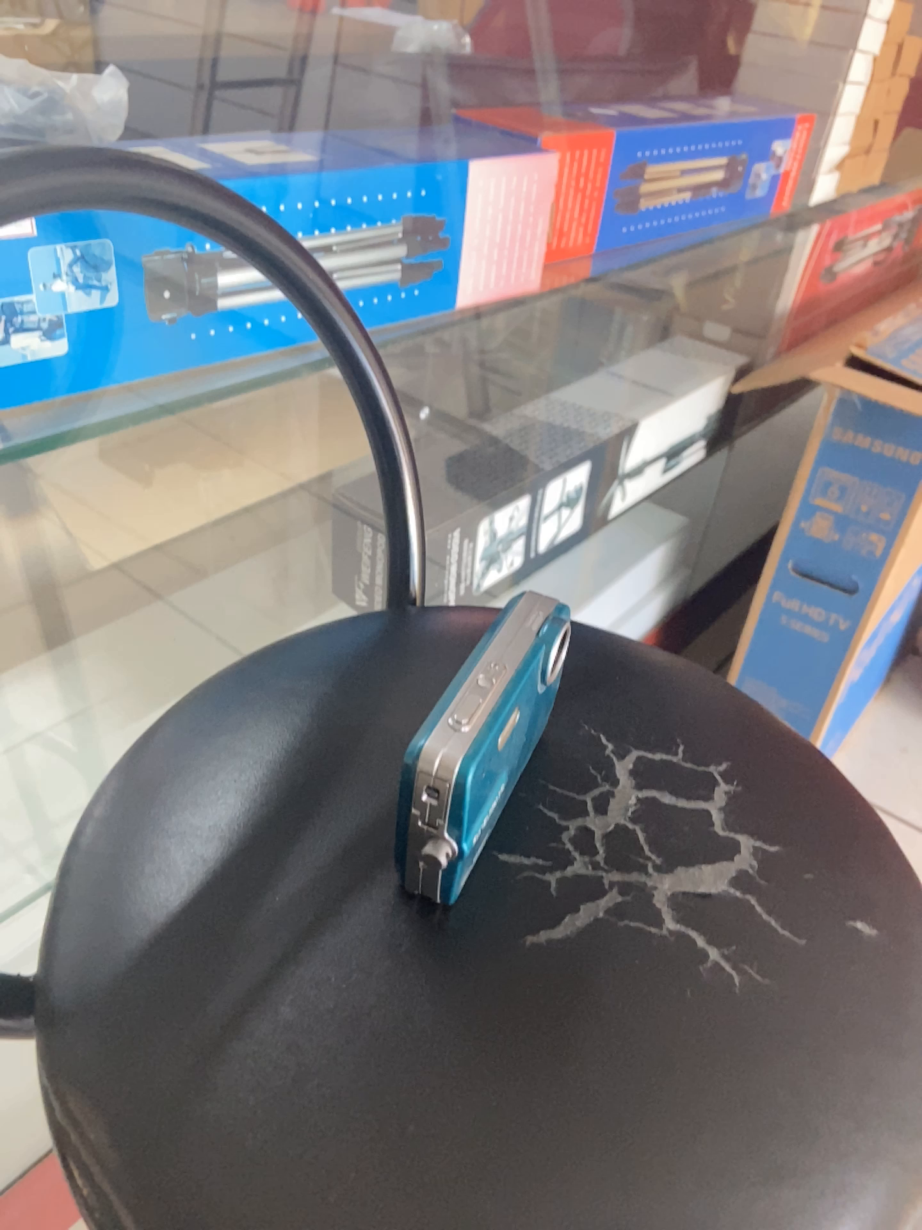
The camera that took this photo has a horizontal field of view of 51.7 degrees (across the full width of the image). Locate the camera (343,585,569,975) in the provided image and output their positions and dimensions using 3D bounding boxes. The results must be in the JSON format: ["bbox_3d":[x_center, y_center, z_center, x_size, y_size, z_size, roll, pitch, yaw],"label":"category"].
[{"bbox_3d":[0.000,0.048,0.304,0.030,0.070,0.101,17,36,14],"label":"camera"}]
